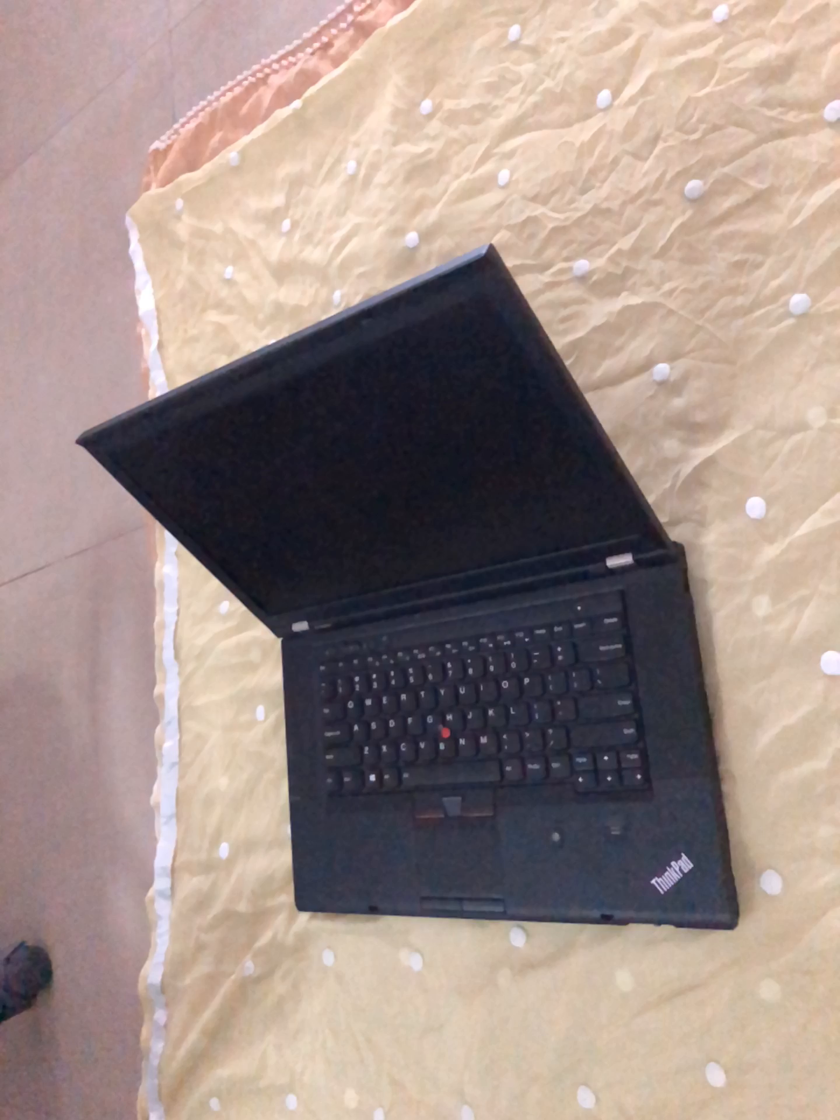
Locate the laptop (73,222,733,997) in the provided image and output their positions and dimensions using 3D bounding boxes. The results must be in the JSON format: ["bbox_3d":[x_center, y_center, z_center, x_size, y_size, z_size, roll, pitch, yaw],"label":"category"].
[{"bbox_3d":[-0.034,0.057,0.629,0.364,0.191,0.380,-14,78,36],"label":"laptop"}]
